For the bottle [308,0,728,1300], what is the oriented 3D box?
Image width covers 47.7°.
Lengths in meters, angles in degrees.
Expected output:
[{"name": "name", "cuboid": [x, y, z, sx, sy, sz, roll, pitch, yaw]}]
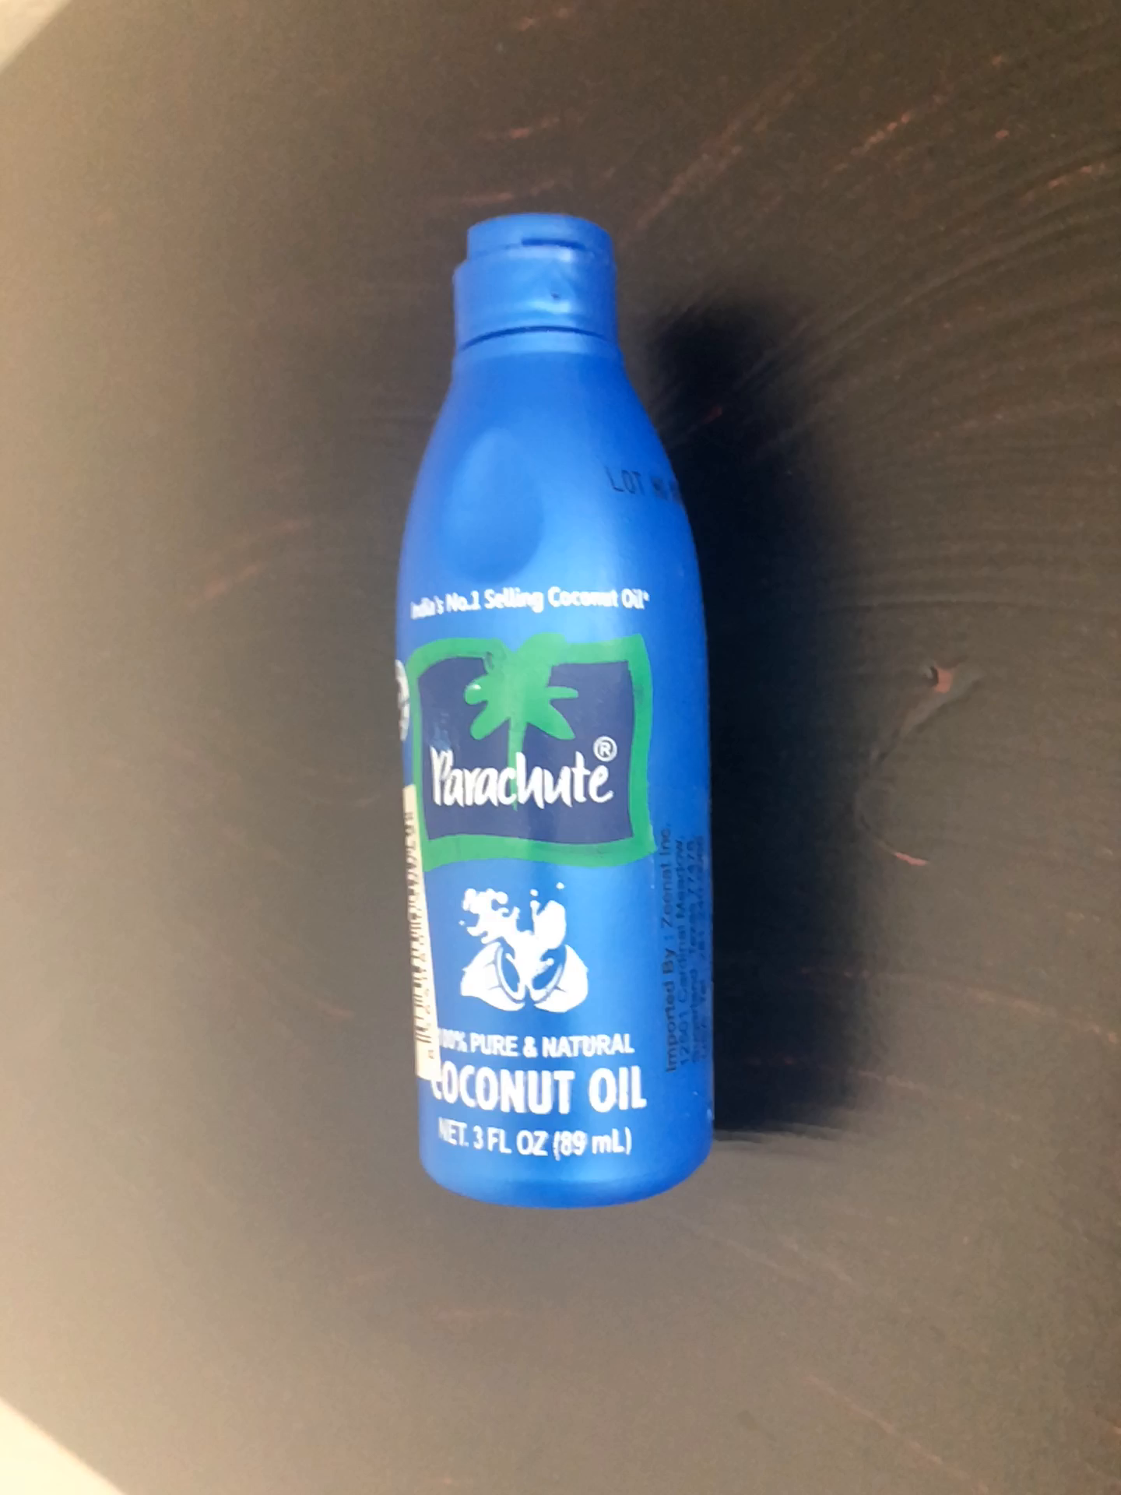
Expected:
[{"name": "bottle", "cuboid": [-0.003, -0.012, 0.157, 0.040, 0.040, 0.140, -1, 88, 16]}]
